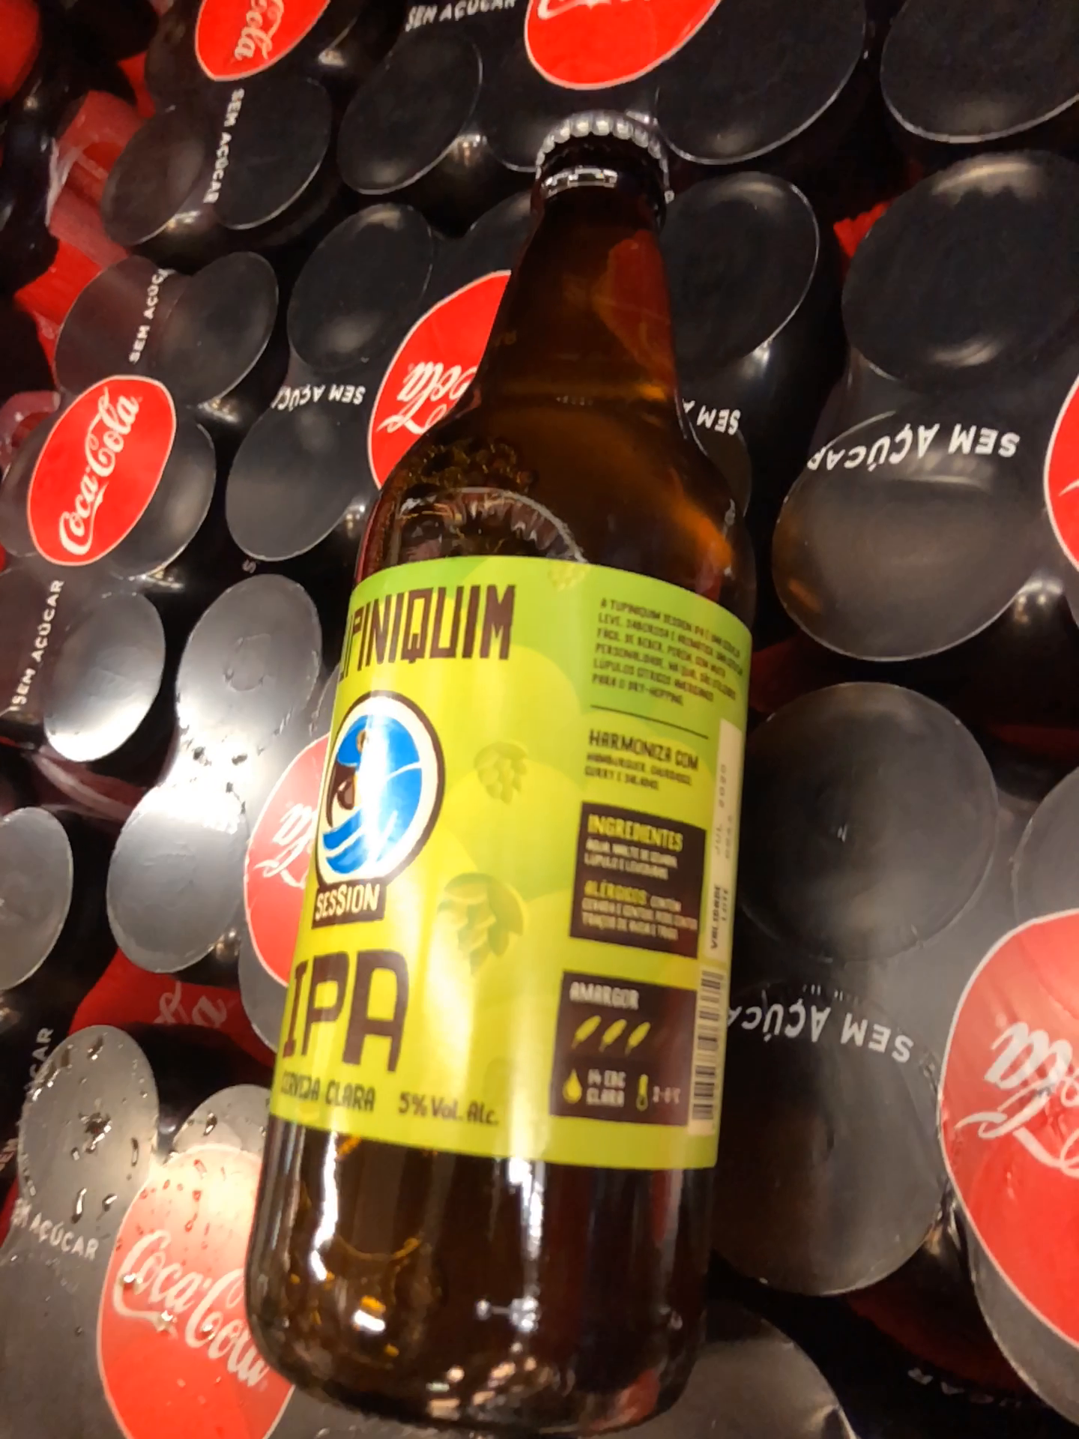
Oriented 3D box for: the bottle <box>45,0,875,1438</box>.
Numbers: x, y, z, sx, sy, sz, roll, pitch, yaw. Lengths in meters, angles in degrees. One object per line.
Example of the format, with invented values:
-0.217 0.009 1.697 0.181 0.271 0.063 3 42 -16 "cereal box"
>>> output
-0.001 -0.018 0.211 0.090 0.070 0.260 -4 72 33 "bottle"
